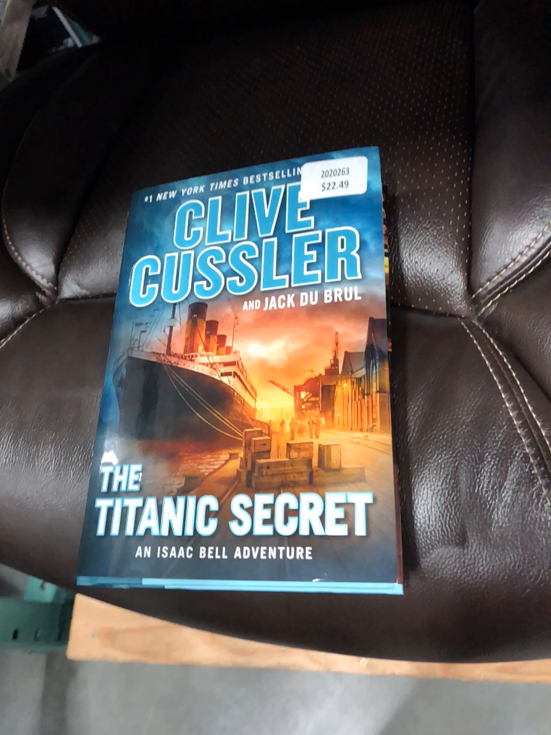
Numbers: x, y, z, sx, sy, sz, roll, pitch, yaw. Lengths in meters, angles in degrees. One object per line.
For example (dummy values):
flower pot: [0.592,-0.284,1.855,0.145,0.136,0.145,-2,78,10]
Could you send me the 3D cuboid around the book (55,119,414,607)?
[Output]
book: [-0.017,-0.007,0.333,0.166,0.040,0.249,-5,67,17]
